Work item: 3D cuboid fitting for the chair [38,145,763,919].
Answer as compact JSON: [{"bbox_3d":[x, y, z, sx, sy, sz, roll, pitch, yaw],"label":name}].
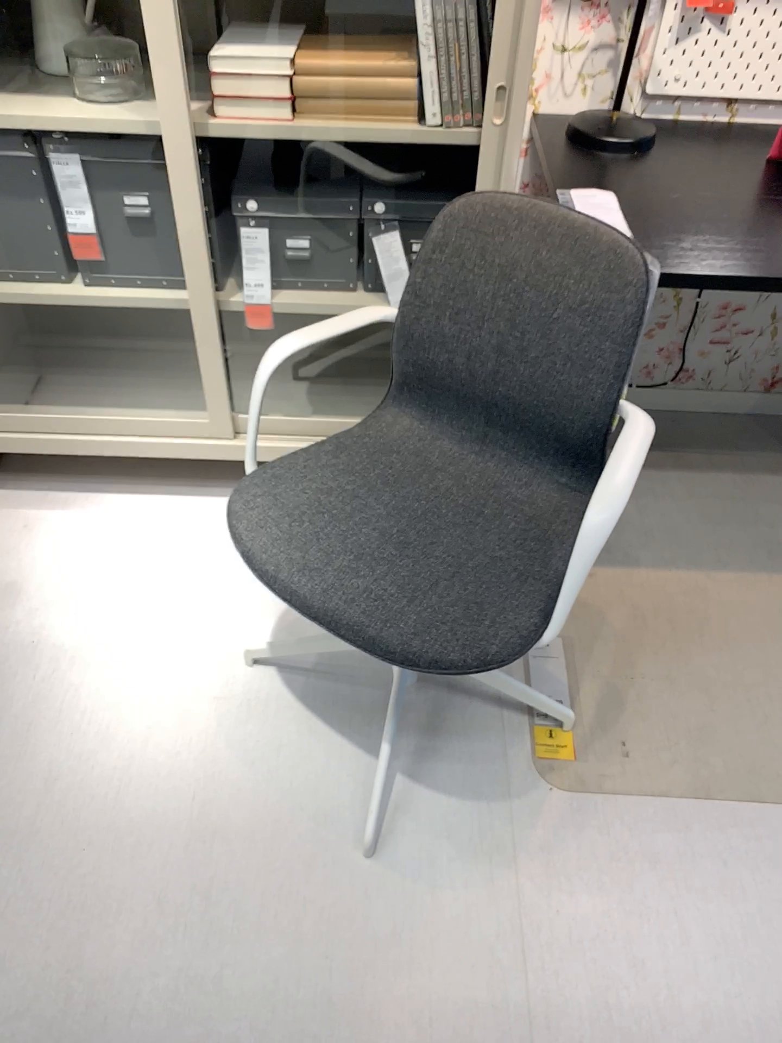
[{"bbox_3d":[0.029,0.010,1.255,0.621,0.837,0.642,28,50,23],"label":"chair"}]
